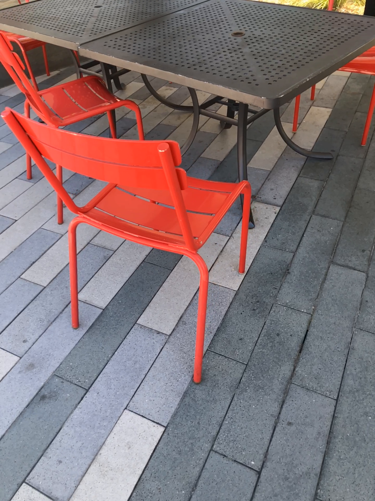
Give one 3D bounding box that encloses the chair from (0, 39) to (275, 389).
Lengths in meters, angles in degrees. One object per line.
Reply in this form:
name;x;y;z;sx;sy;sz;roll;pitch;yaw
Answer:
chair;-0.115;-0.134;1.488;0.611;0.955;0.632;16;46;22
